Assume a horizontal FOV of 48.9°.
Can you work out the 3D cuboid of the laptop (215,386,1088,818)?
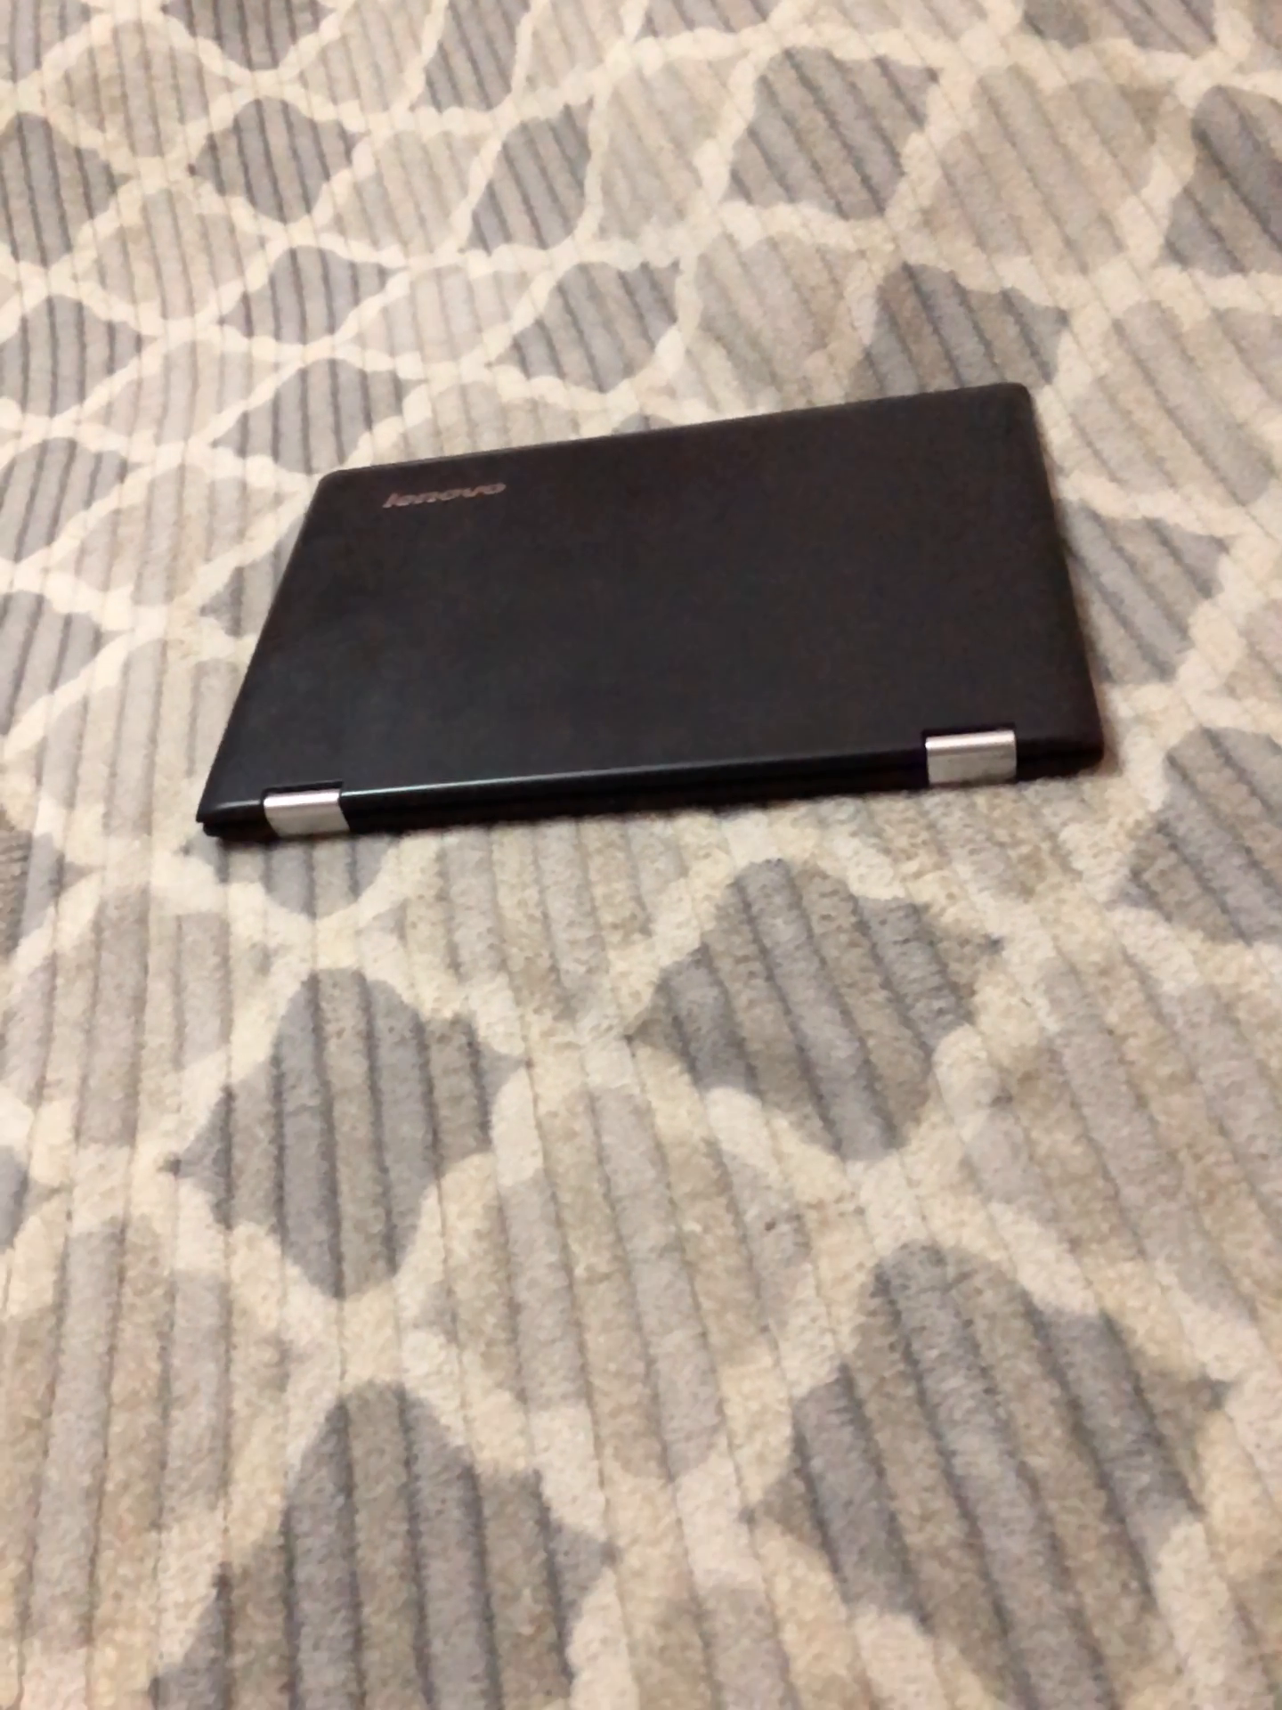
[{"bbox_3d":[0.003,-0.117,0.616,0.339,0.005,0.231,-4,49,10],"label":"laptop"}]
